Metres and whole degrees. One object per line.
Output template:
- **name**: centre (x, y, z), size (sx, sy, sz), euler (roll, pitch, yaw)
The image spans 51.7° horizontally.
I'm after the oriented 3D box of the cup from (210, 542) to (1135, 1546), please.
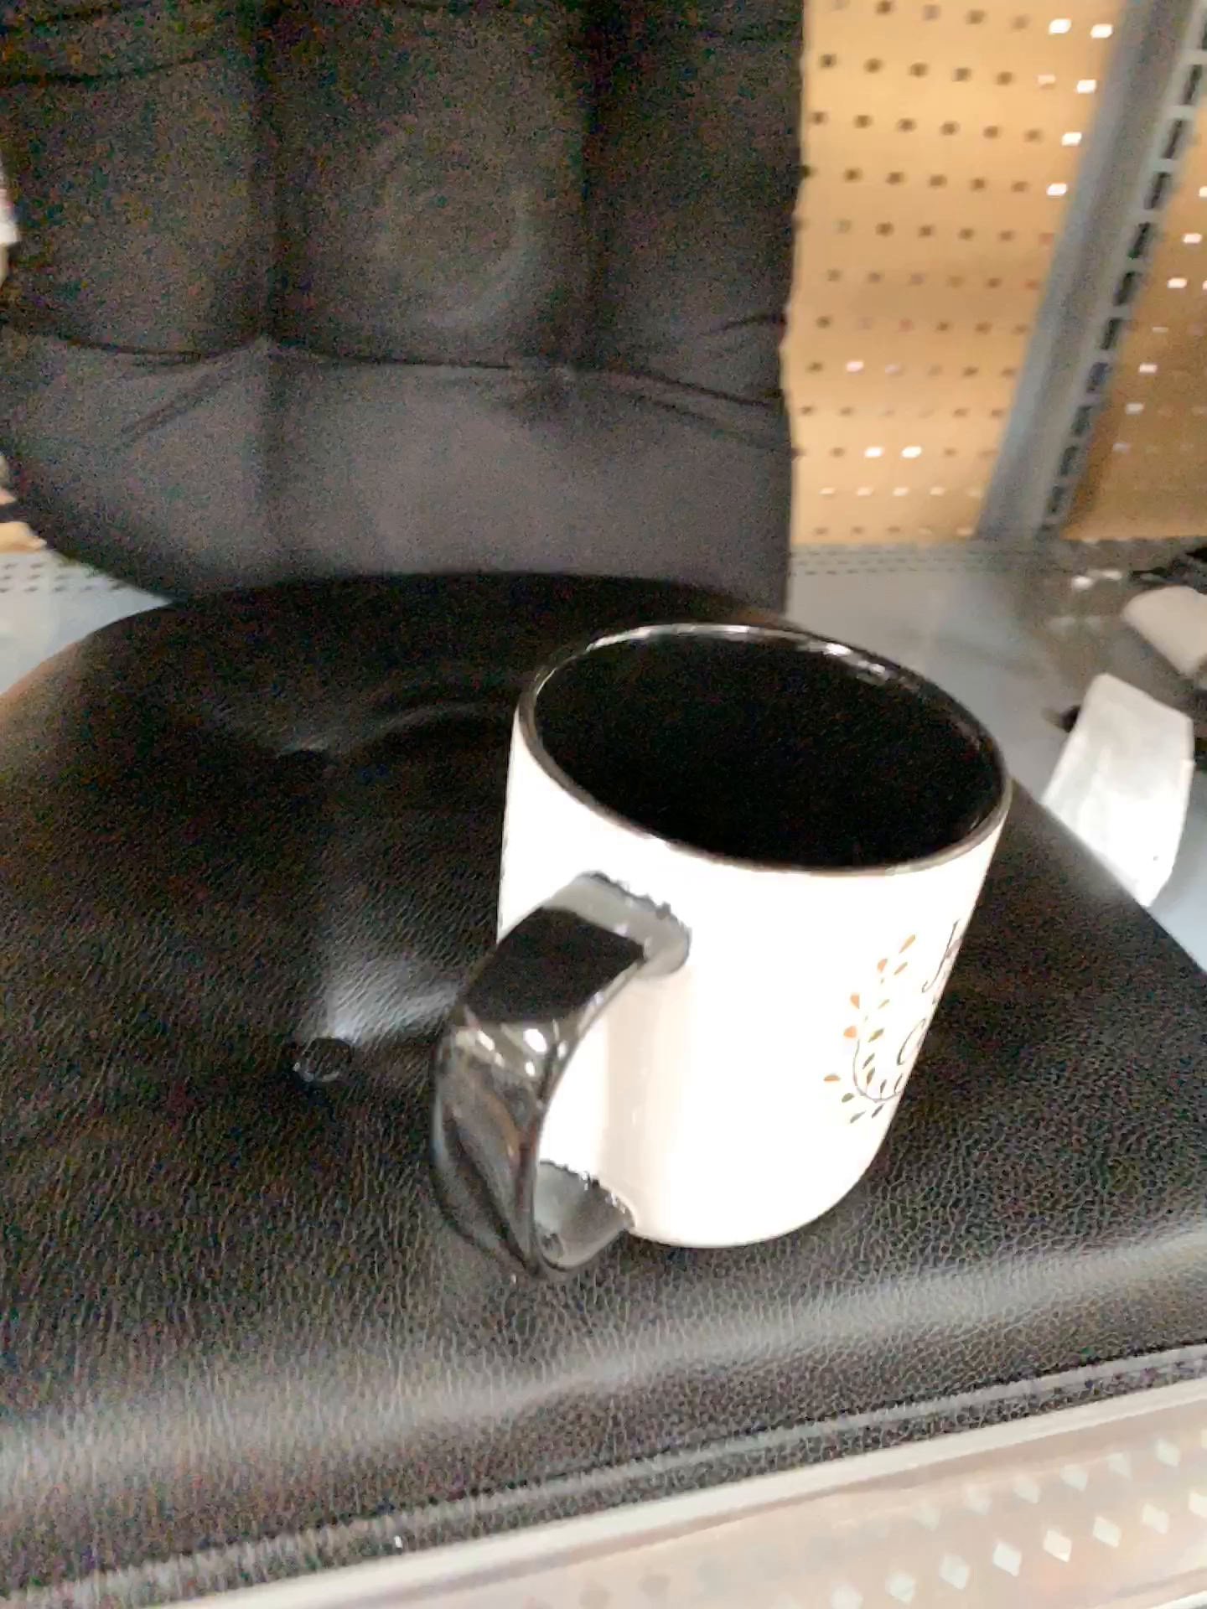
- **cup**: centre (0.018, 0.030, 0.249), size (0.102, 0.104, 0.142), euler (26, 39, 28)
